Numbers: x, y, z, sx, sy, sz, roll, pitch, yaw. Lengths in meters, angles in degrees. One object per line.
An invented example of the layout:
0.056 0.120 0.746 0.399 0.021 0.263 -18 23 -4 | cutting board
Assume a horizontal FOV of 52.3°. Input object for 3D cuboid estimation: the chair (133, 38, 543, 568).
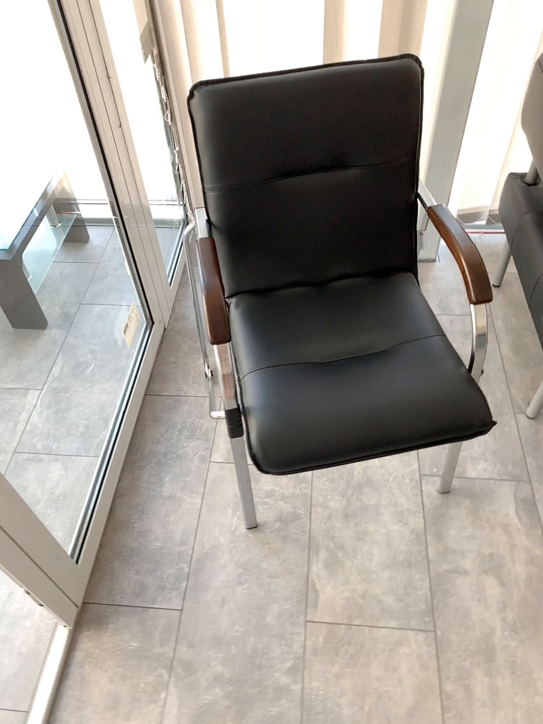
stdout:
0.136 -0.106 1.238 0.680 0.827 0.703 -10 49 -5 | chair
